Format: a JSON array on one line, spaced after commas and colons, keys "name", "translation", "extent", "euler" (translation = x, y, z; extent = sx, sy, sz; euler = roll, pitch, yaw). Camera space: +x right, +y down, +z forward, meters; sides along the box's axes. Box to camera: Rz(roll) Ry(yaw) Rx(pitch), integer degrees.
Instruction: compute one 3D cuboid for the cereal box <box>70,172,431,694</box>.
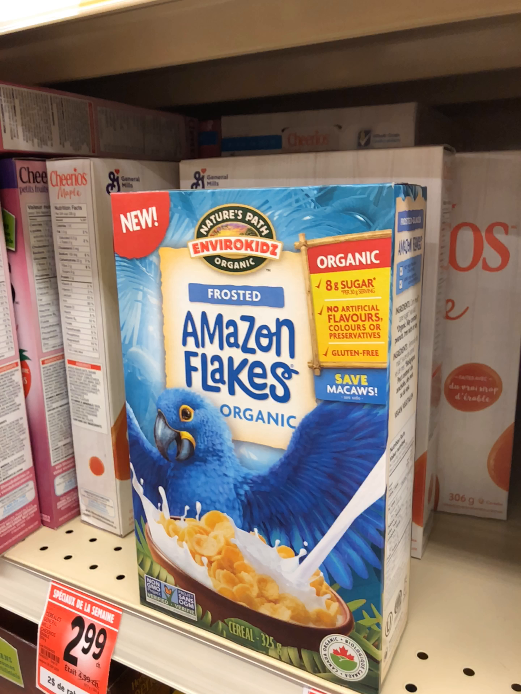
[{"name": "cereal box", "translation": [-0.007, 0.041, 0.306], "extent": [0.170, 0.249, 0.050], "euler": [6, 16, 29]}]
